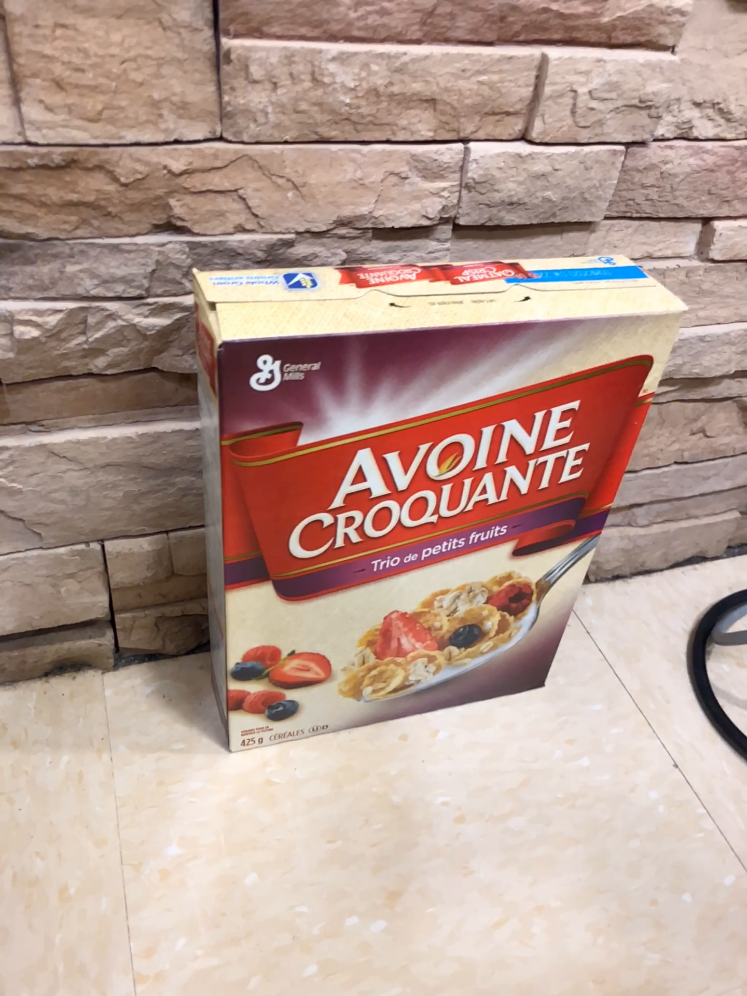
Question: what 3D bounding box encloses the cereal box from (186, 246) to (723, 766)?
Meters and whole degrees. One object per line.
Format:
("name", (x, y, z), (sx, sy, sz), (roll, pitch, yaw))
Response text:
("cereal box", (0.021, 0.013, 0.395), (0.200, 0.248, 0.060), (-7, 42, -17))
